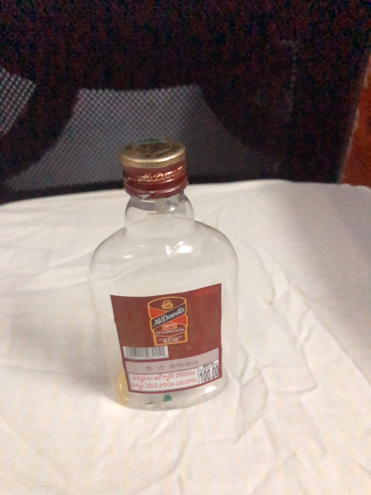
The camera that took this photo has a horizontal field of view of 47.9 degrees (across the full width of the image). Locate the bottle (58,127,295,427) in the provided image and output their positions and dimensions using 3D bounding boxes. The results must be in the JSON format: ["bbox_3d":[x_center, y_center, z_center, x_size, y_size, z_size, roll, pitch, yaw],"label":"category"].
[{"bbox_3d":[-0.004,0.021,0.196,0.080,0.139,0.040,-5,35,-6],"label":"bottle"}]
